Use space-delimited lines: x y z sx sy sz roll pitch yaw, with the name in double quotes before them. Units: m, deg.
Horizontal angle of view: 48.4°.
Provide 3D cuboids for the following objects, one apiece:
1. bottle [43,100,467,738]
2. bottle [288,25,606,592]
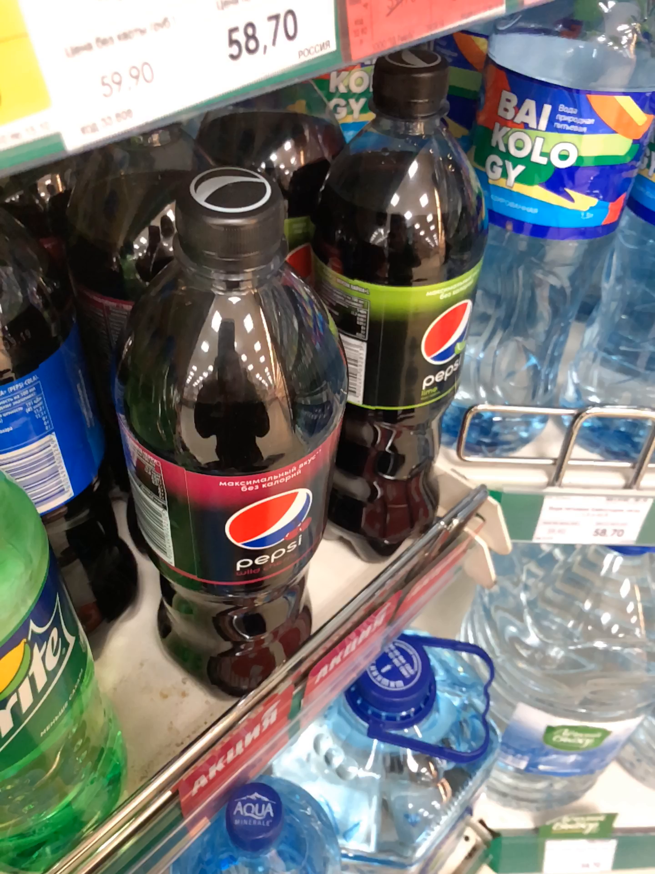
"bottle" -0.032 0.018 0.289 0.086 0.256 0.077 -23 55 -25
"bottle" 0.039 -0.044 0.364 0.086 0.263 0.077 -23 50 -25
